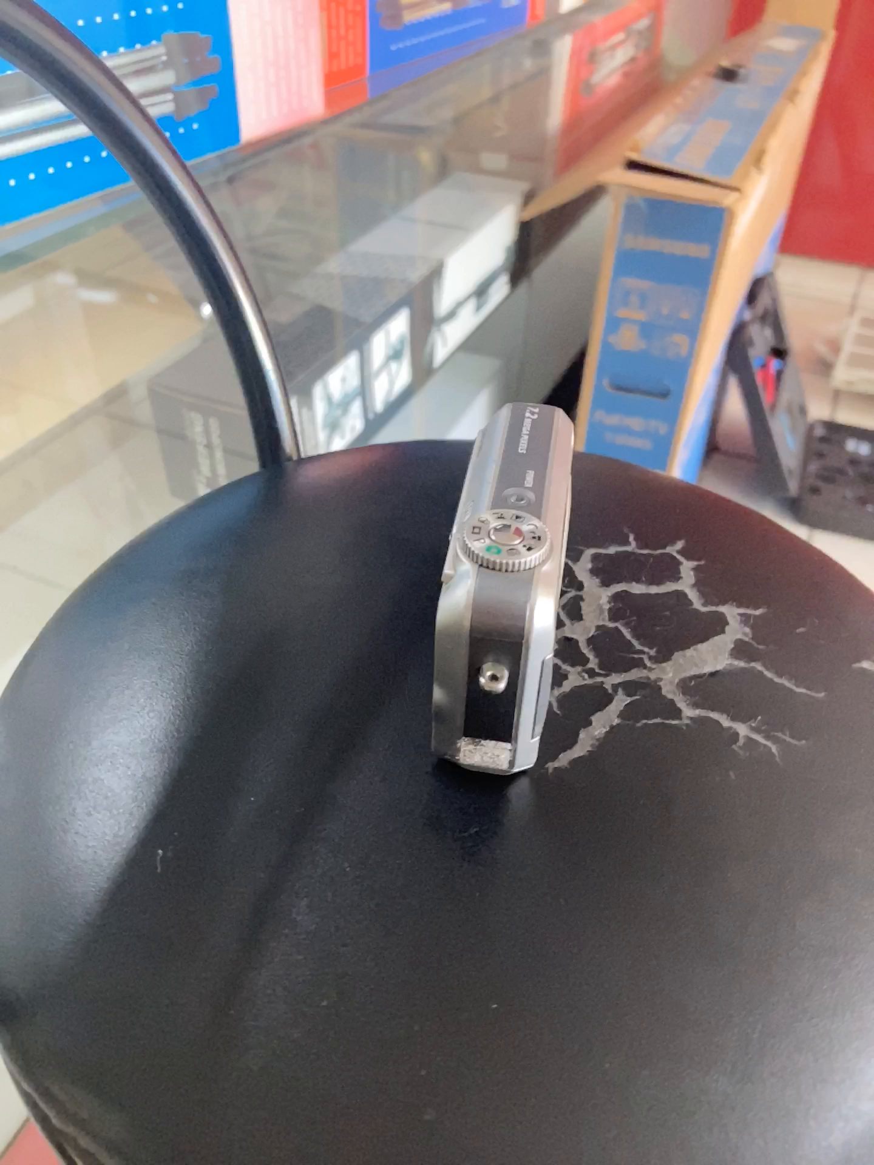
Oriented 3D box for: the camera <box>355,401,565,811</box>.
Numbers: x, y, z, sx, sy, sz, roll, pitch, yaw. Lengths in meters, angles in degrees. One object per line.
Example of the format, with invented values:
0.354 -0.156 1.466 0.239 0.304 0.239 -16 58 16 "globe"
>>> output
0.009 0.000 0.236 0.040 0.050 0.101 6 39 5 "camera"
